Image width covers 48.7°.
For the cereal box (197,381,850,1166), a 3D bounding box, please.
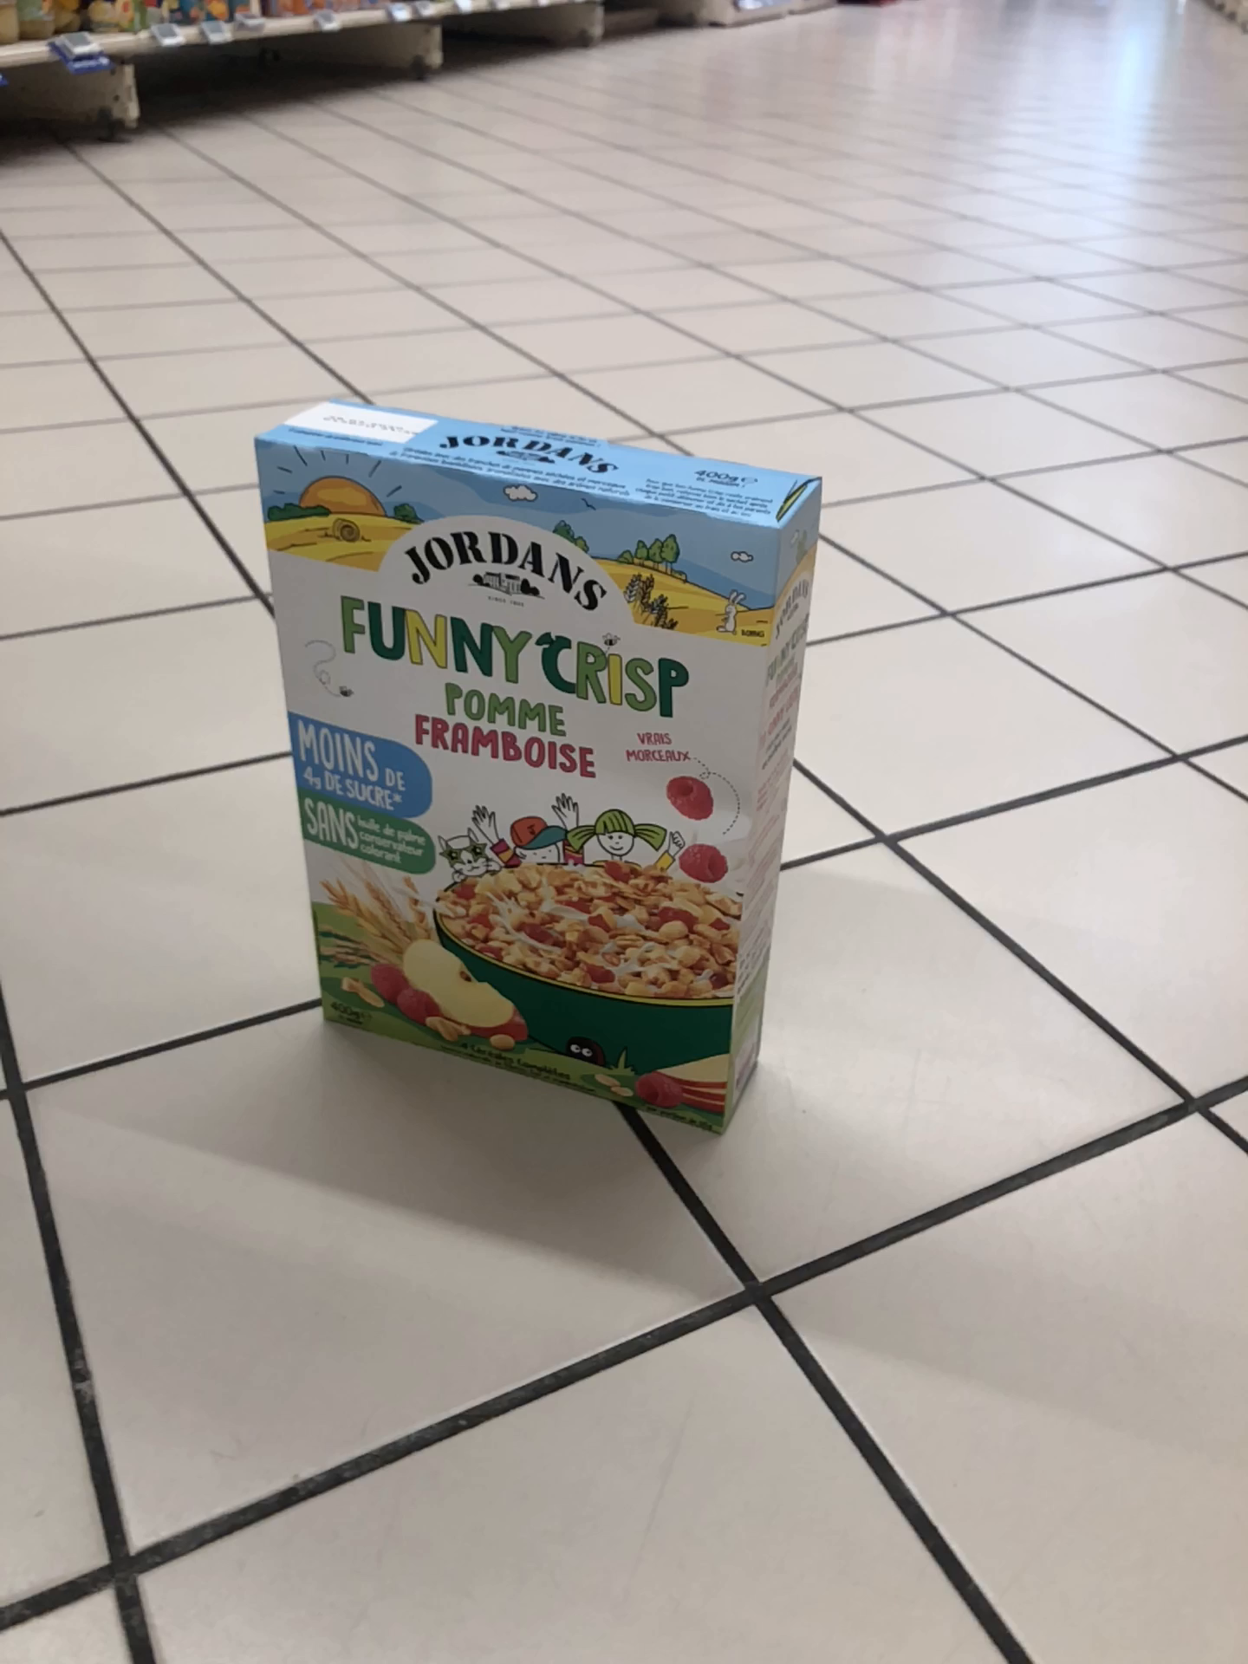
[{"bbox_3d":[-0.033,-0.017,0.470,0.180,0.229,0.070,13,34,16],"label":"cereal box"}]
